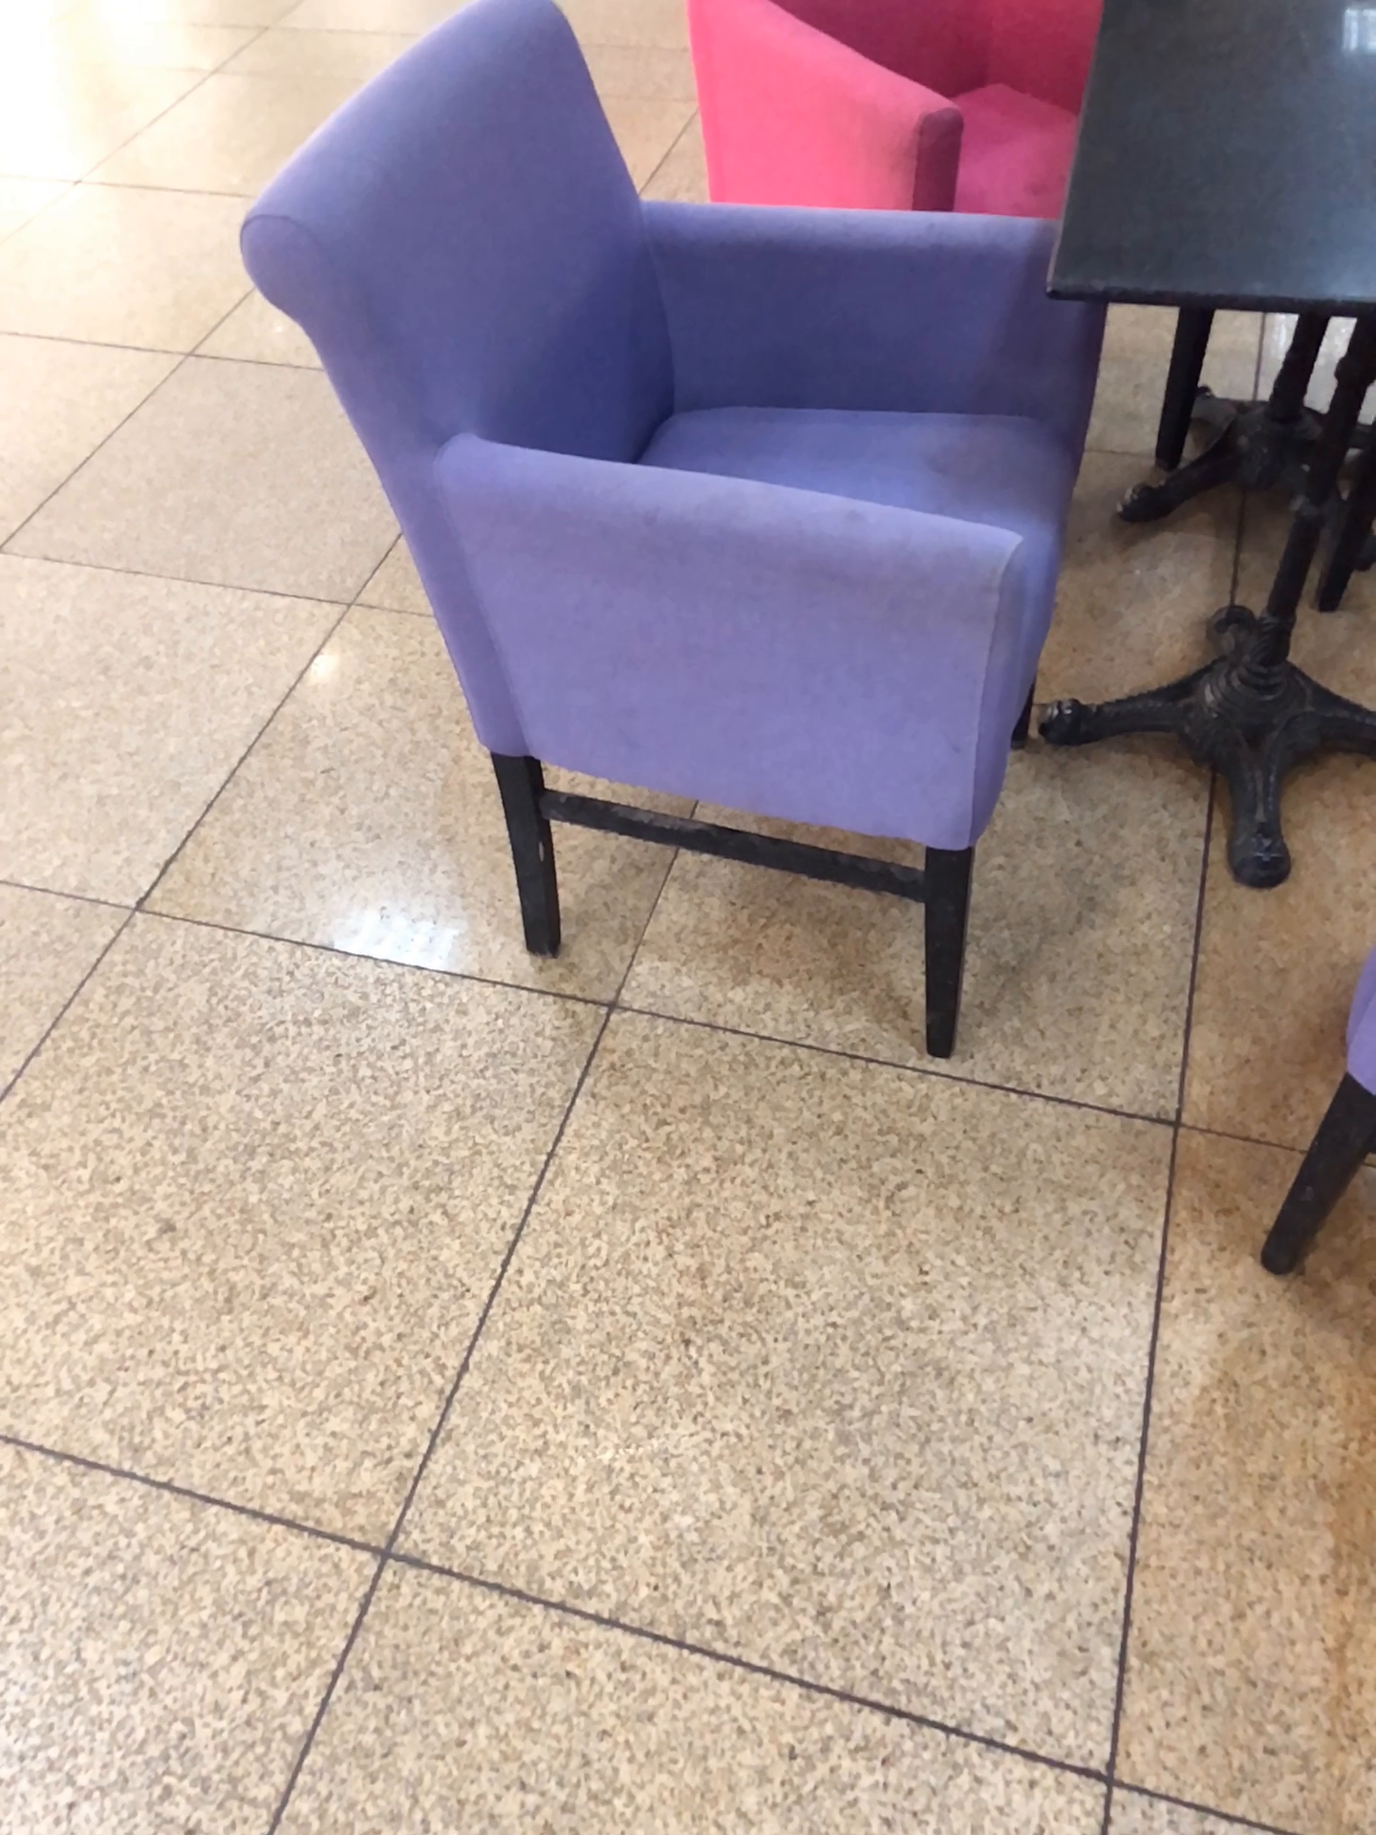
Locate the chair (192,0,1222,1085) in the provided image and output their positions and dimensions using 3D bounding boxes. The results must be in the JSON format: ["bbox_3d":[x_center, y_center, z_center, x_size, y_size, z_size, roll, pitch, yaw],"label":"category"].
[{"bbox_3d":[0.067,-0.376,1.486,0.660,0.817,0.572,13,51,15],"label":"chair"}]
